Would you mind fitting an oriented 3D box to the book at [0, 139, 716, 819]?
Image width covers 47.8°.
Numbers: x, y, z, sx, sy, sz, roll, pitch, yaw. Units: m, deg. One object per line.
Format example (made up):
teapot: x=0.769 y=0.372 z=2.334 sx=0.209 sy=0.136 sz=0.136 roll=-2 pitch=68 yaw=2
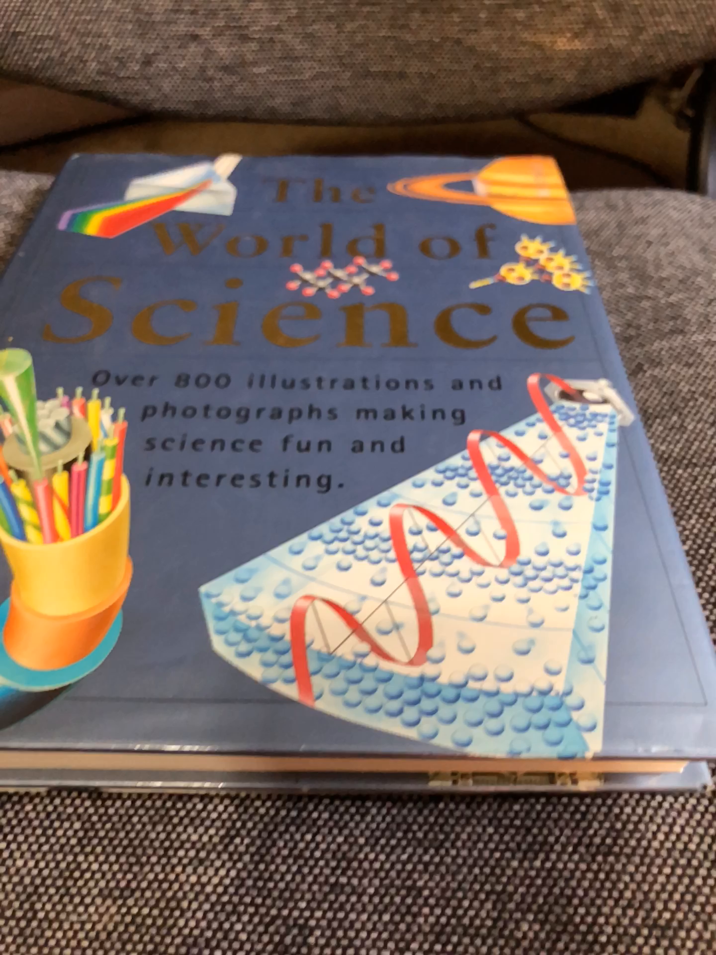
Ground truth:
book: x=-0.025 y=-0.033 z=0.271 sx=0.220 sy=0.030 sz=0.277 roll=0 pitch=48 yaw=-1
